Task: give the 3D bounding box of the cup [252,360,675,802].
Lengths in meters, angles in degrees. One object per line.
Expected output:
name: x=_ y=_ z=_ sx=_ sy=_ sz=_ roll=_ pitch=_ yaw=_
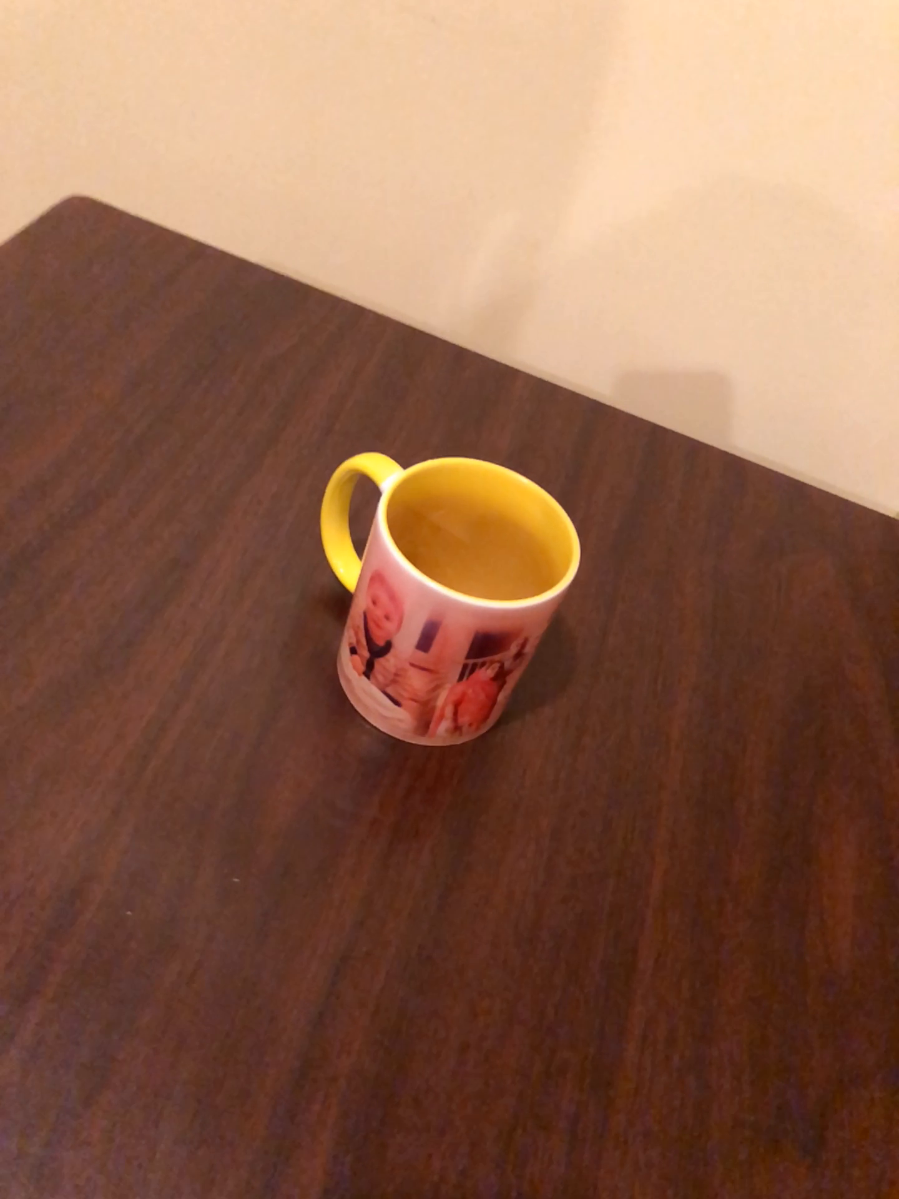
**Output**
cup: x=0.001 y=-0.009 z=0.403 sx=0.120 sy=0.100 sz=0.090 roll=37 pitch=48 yaw=14
